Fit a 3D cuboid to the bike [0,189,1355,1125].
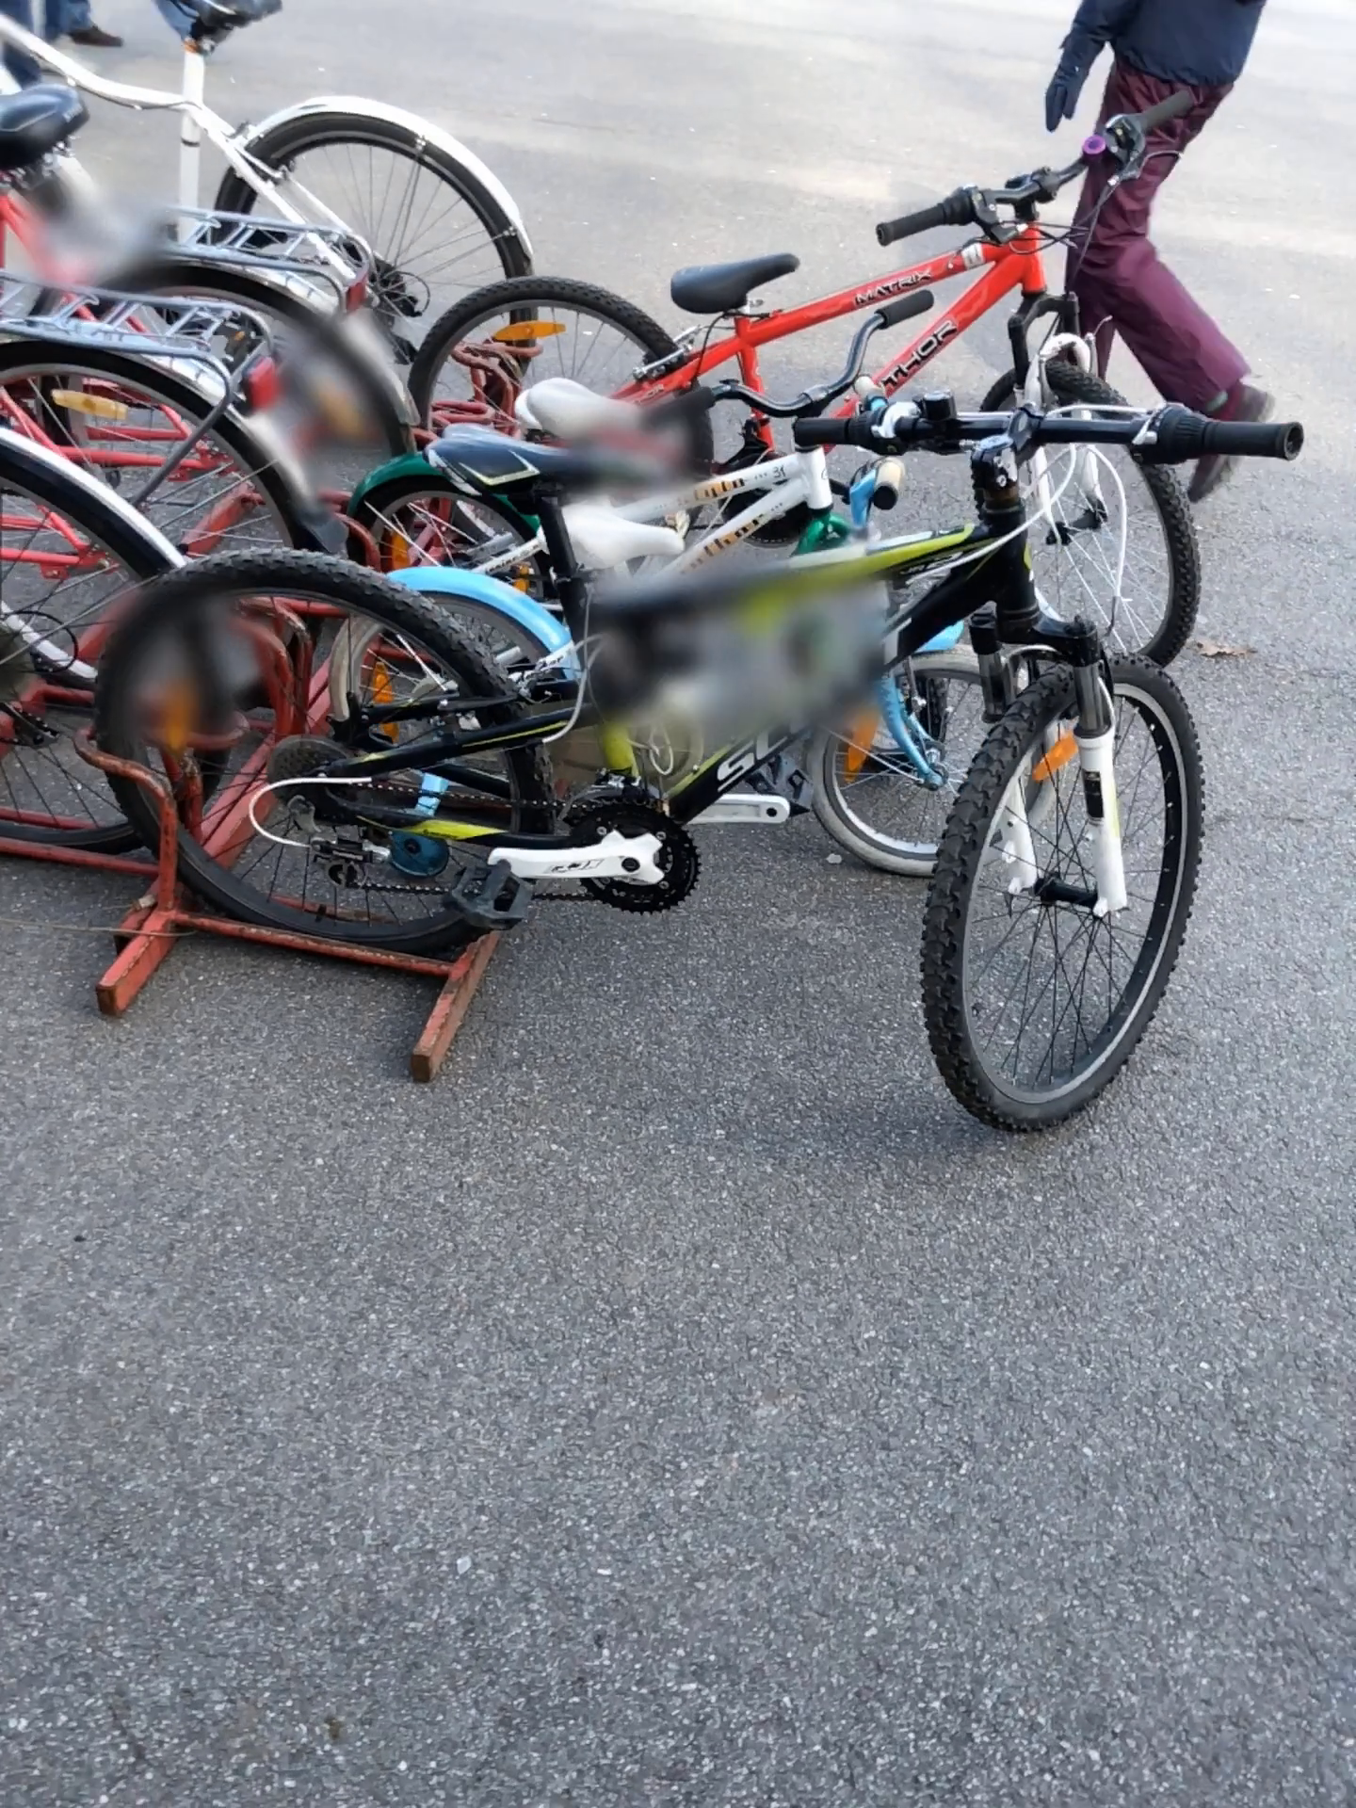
[{"bbox_3d":[-0.017,-0.274,1.763,1.372,0.901,0.531,4,36,-1],"label":"bike"}]
